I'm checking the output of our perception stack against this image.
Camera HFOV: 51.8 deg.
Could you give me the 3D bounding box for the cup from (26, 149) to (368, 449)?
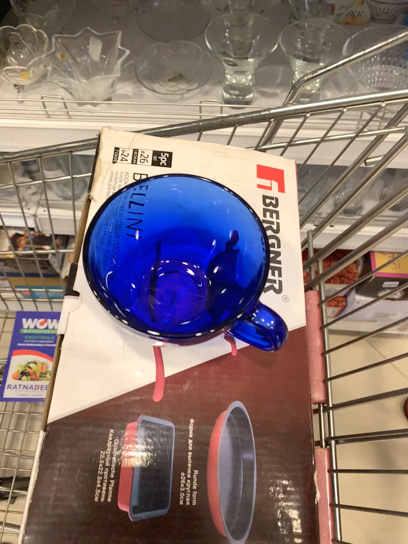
[{"bbox_3d":[-0.002,0.010,0.189,0.110,0.050,0.080,28,67,14],"label":"cup"}]
